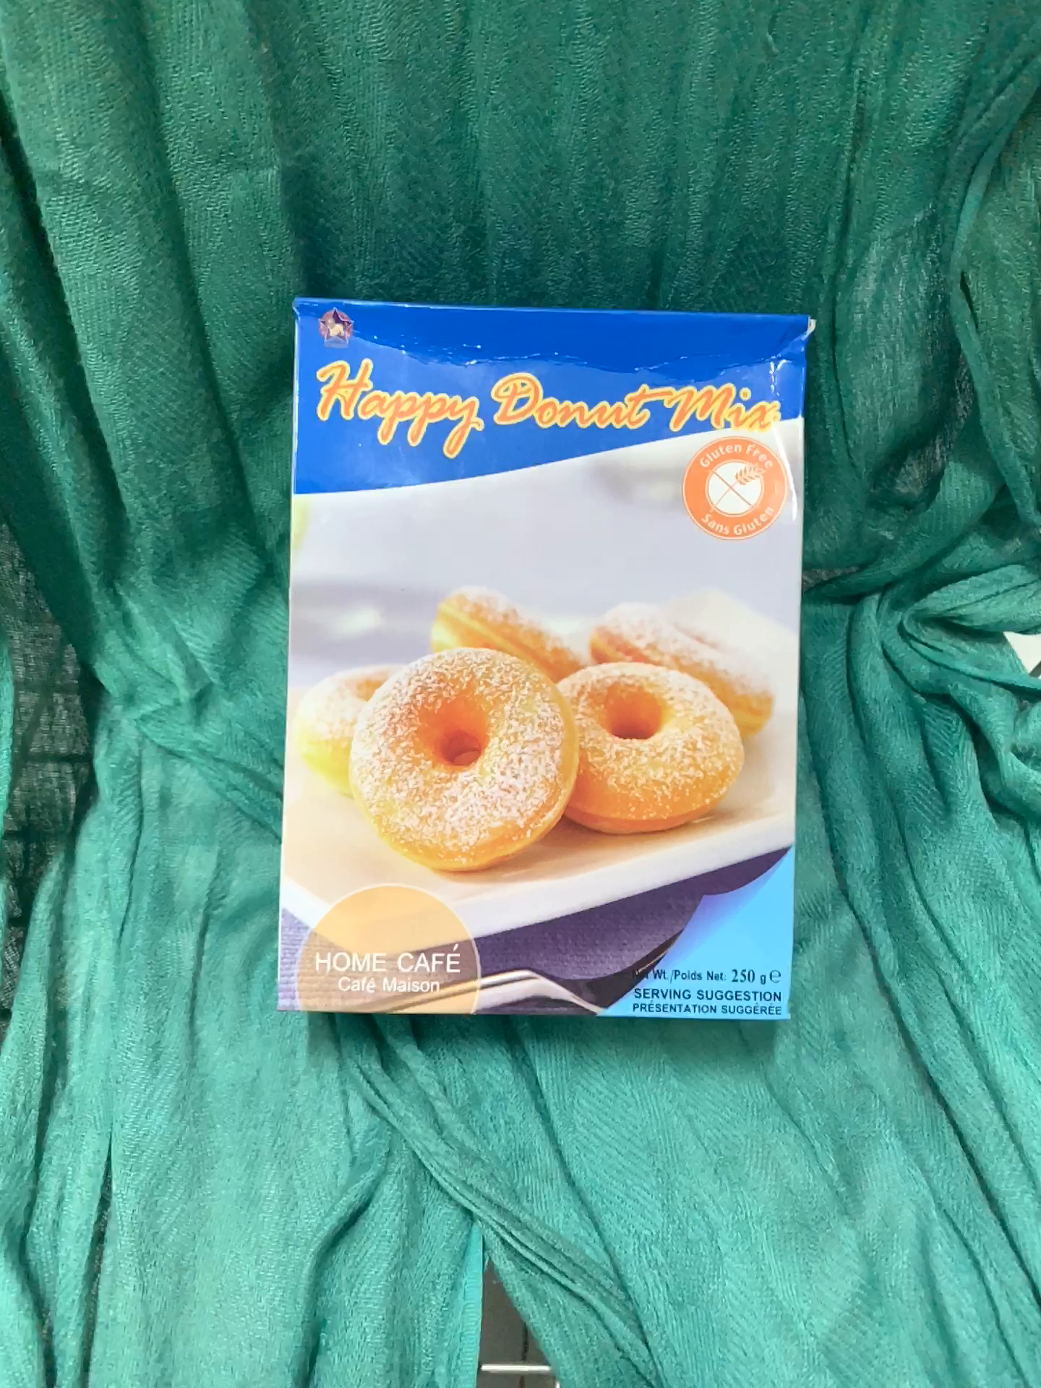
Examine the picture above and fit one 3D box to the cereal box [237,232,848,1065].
[{"bbox_3d":[0.004,-0.009,0.268,0.130,0.060,0.180,2,90,-2],"label":"cereal box"}]
